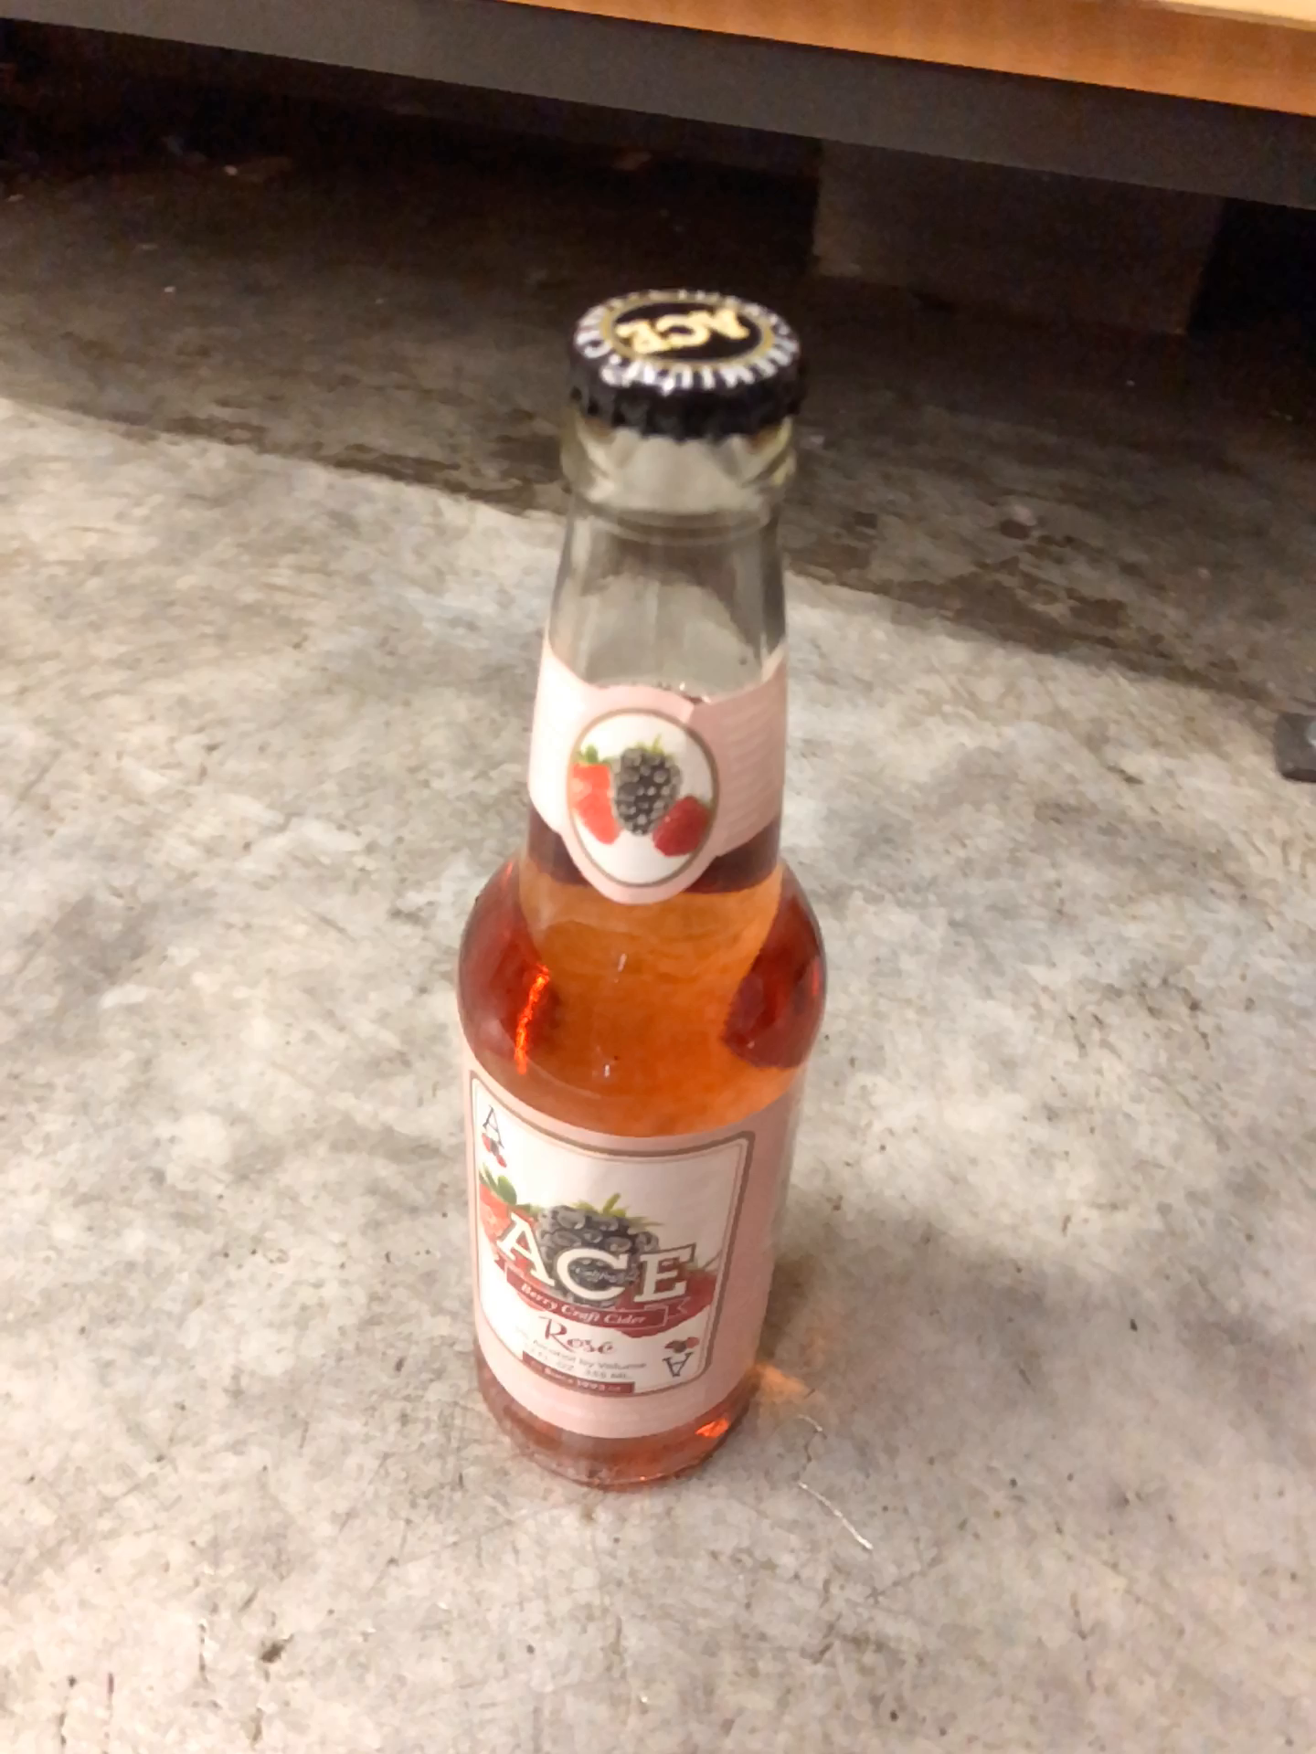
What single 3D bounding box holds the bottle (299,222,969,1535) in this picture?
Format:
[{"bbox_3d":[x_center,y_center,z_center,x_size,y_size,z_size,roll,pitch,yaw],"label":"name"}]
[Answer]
[{"bbox_3d":[-0.004,0.022,0.238,0.061,0.221,0.060,2,42,-2],"label":"bottle"}]
